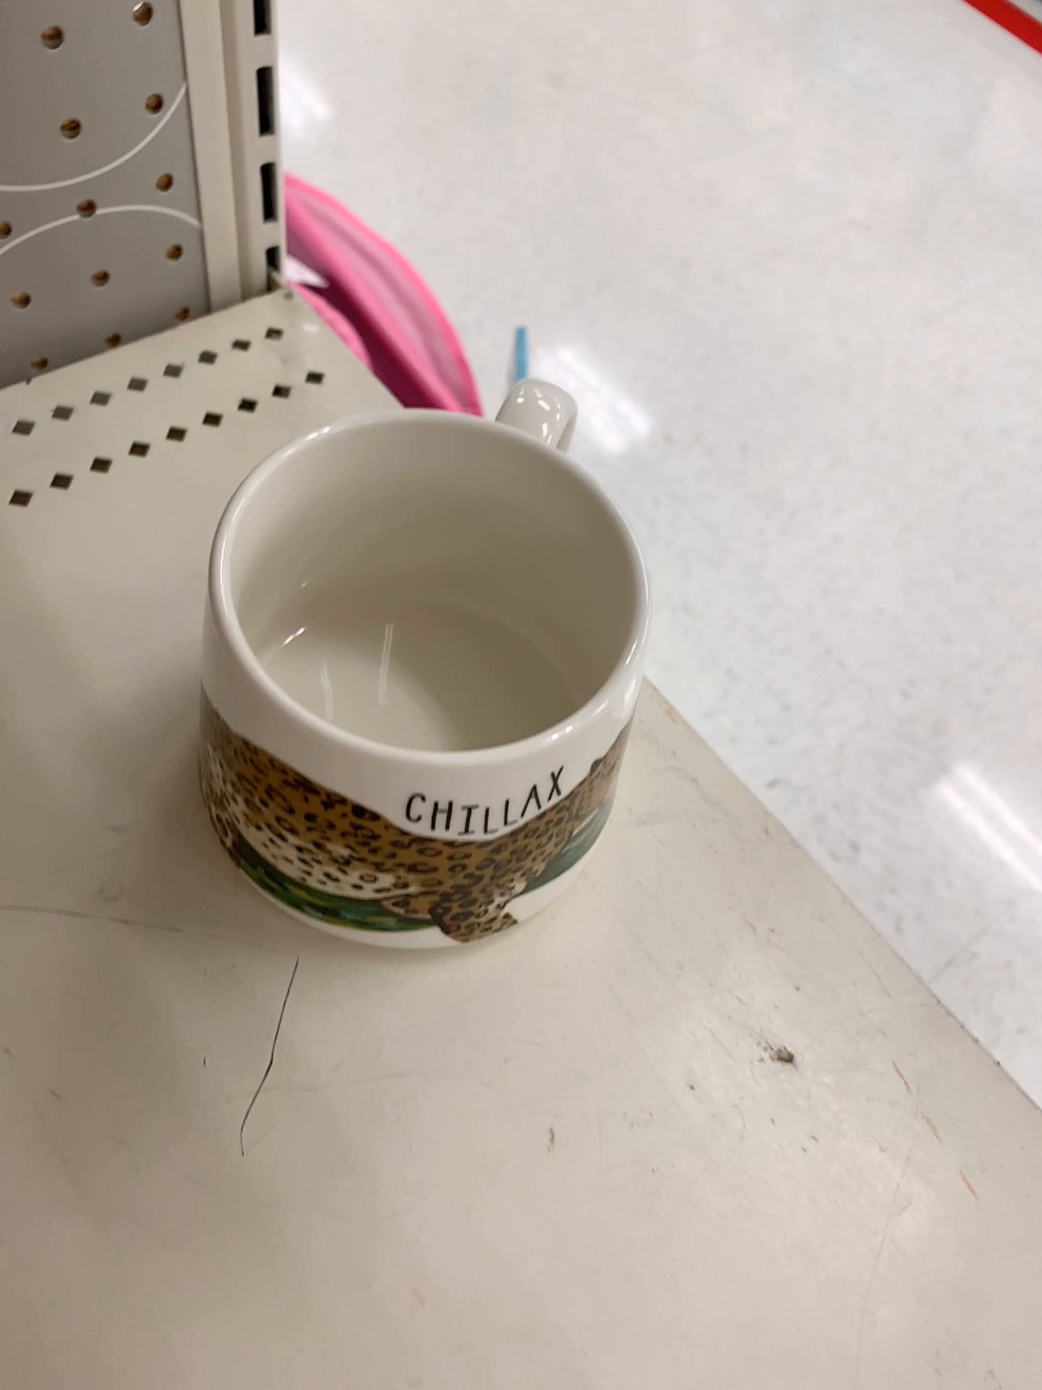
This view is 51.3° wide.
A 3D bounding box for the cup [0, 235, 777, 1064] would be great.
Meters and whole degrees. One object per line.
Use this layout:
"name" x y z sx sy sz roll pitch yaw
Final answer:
"cup" -0.021 -0.011 0.254 0.110 0.090 0.140 20 58 2
